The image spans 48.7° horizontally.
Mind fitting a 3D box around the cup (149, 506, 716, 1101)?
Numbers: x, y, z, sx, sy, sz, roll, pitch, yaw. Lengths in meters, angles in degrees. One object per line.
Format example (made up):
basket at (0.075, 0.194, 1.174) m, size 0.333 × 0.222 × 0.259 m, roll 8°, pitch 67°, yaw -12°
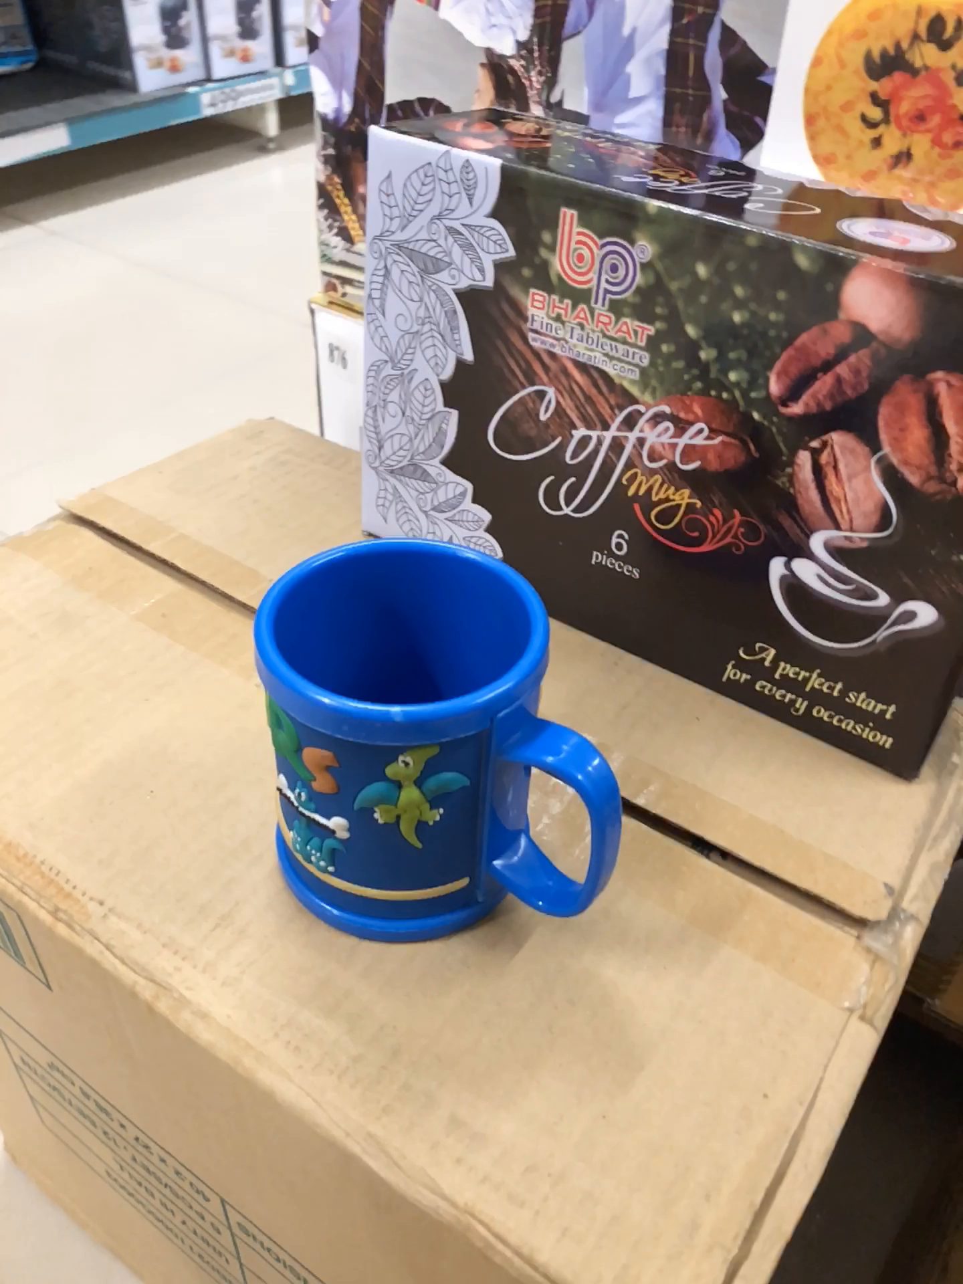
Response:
cup at (-0.015, 0.039, 0.308) m, size 0.120 × 0.089 × 0.091 m, roll 30°, pitch 46°, yaw 29°
